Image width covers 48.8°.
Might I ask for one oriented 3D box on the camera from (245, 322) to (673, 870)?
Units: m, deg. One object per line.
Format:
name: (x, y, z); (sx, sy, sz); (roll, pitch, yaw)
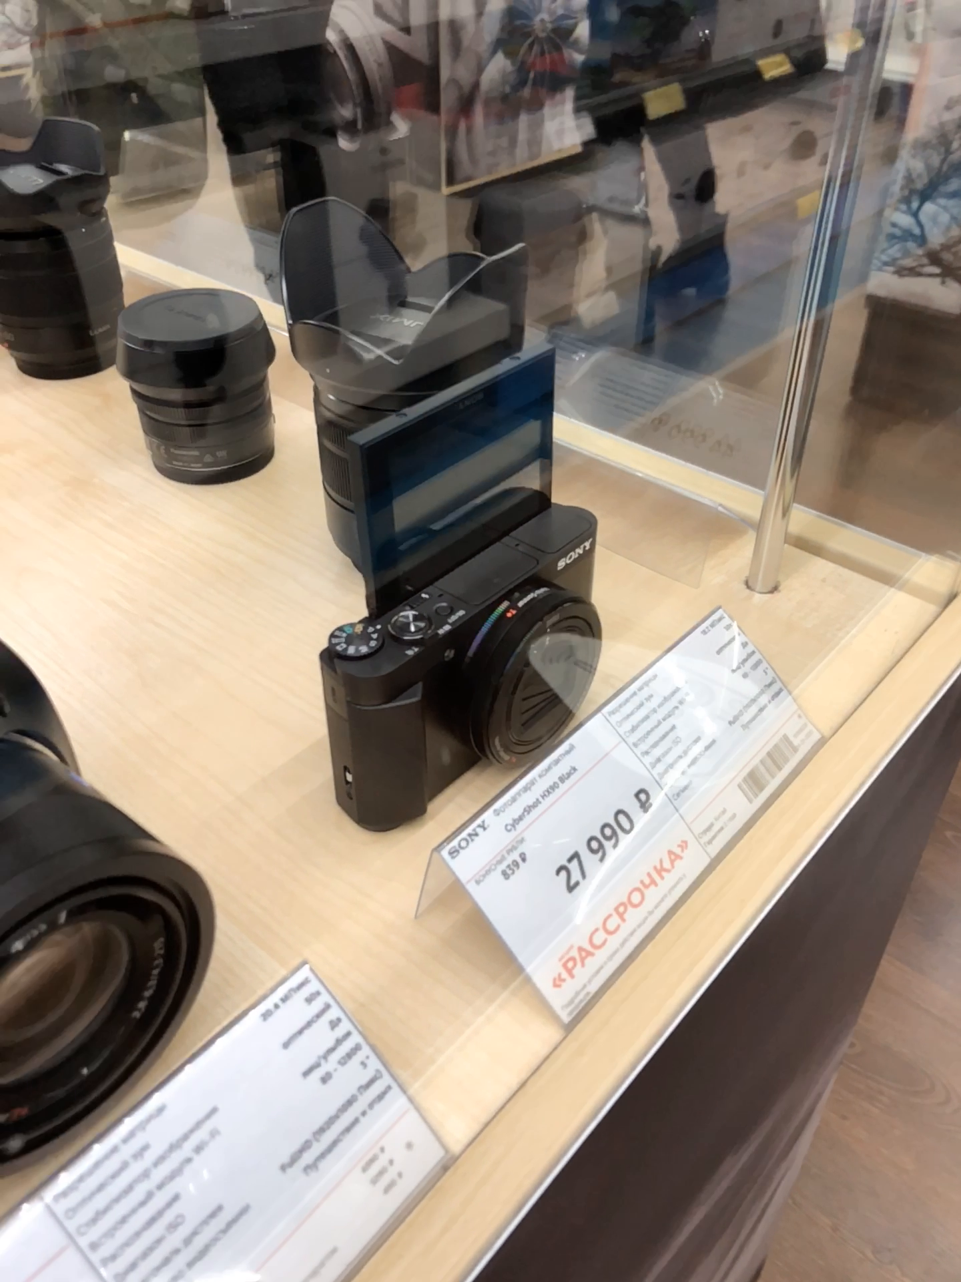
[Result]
camera: (-0.002, -0.015, 0.290); (0.050, 0.107, 0.100); (28, 46, 31)

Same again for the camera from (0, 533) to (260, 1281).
camera: (-0.149, 0.060, 0.232); (0.136, 0.078, 0.133); (28, 46, 31)
